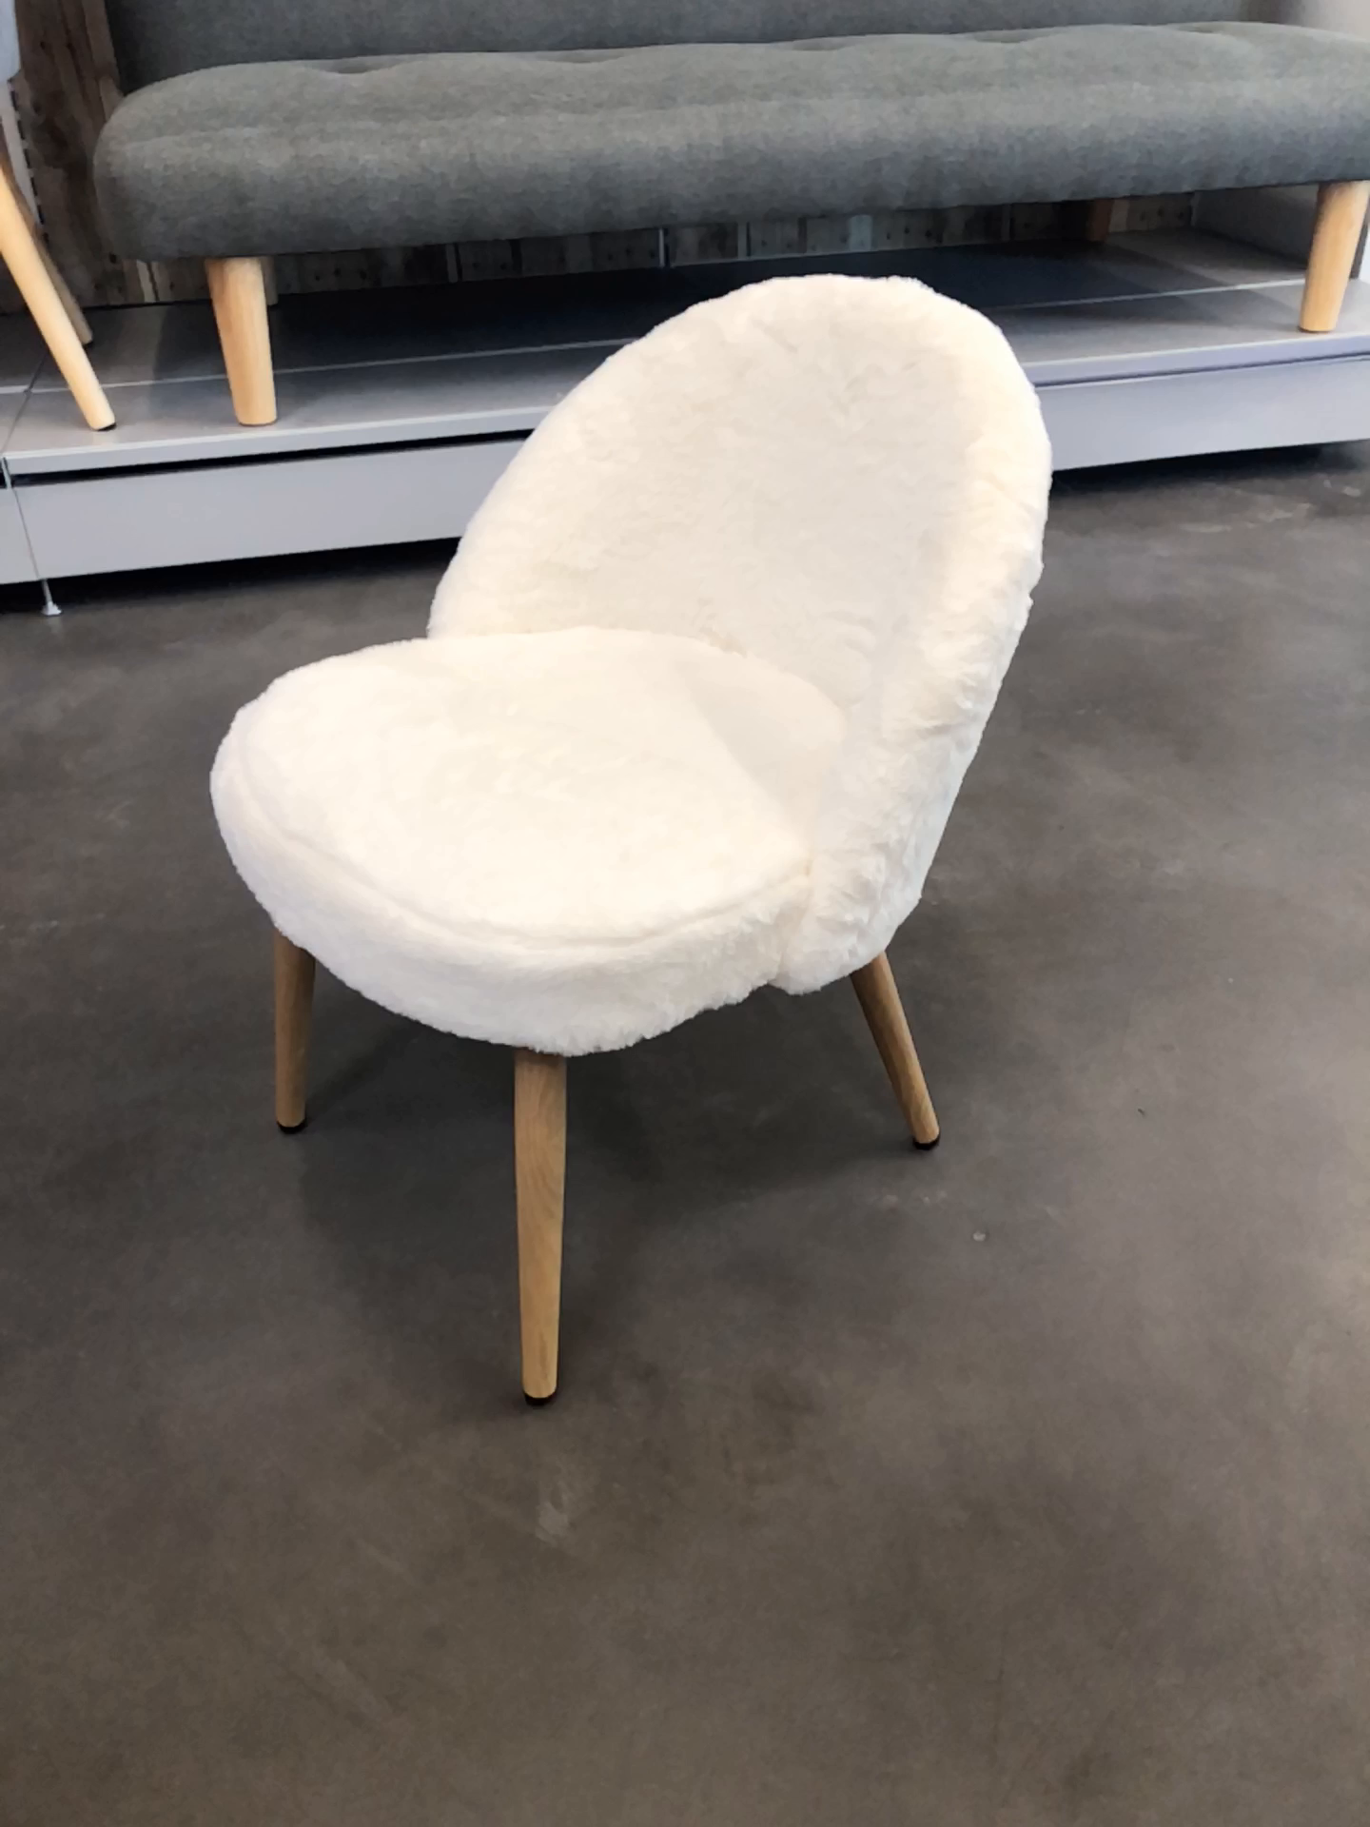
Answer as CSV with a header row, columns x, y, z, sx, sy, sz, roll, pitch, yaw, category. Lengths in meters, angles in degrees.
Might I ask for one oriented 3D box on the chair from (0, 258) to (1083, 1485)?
x,y,z,sx,sy,sz,roll,pitch,yaw,category
-0.089,-0.075,0.956,0.472,0.537,0.411,-25,39,-31,chair
